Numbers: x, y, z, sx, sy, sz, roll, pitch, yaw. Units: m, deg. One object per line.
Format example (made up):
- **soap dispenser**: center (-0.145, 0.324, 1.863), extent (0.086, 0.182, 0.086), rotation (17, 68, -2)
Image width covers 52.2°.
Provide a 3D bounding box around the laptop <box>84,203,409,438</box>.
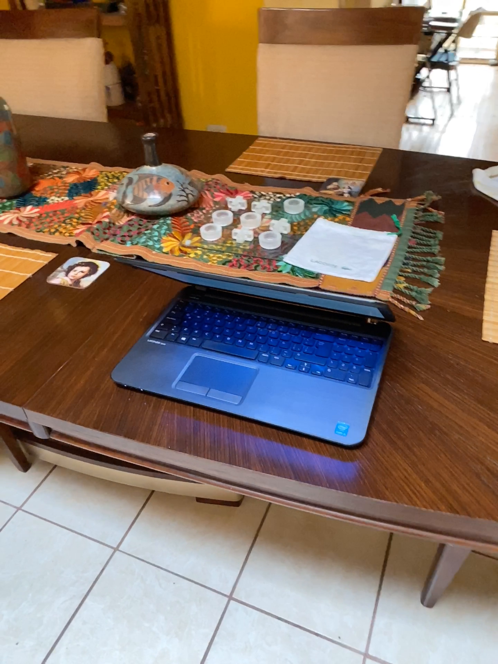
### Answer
- **laptop**: center (0.011, -0.038, 0.721), extent (0.356, 0.158, 0.249), rotation (12, 41, 18)
